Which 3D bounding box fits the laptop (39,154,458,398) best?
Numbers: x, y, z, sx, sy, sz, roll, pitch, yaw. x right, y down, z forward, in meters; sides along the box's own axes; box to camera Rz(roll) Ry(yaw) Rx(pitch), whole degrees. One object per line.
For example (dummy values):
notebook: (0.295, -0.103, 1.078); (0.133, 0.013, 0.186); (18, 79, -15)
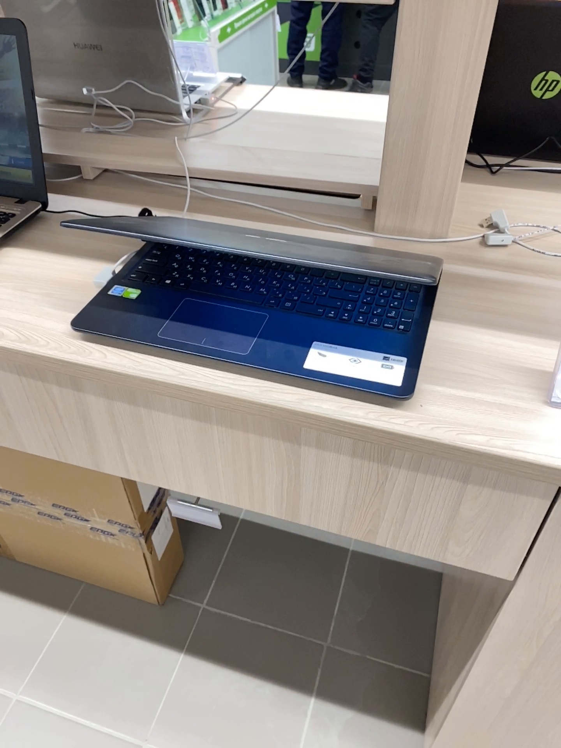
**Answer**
laptop: (-0.020, -0.130, 0.639); (0.386, 0.098, 0.236); (12, 44, 14)
